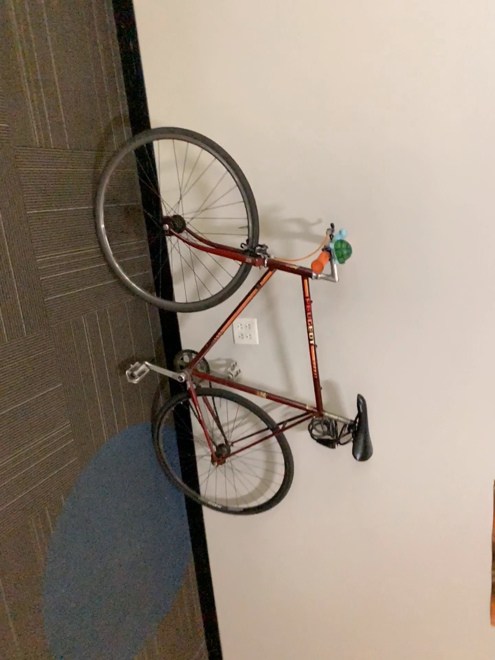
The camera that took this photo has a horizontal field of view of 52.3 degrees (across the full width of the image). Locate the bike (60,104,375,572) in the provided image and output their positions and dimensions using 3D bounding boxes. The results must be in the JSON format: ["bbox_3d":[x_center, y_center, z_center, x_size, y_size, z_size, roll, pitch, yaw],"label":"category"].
[{"bbox_3d":[-0.033,0.065,2.011,0.450,0.909,1.629,-44,130,-56],"label":"bike"}]
